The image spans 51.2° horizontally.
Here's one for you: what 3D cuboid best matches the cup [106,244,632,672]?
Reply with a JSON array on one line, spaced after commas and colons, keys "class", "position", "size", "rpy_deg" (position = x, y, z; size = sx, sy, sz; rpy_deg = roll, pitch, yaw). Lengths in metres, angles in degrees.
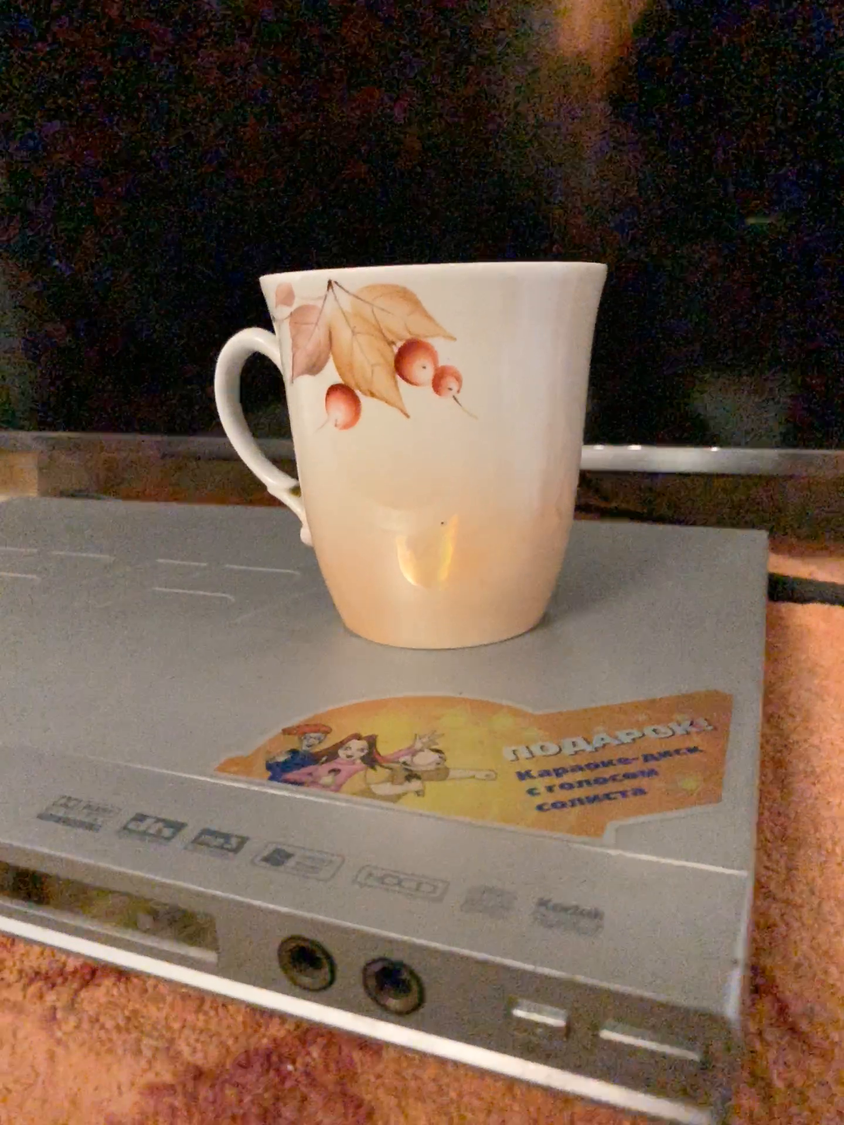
[{"class": "cup", "position": [-0.006, -0.036, 0.251], "size": [0.113, 0.091, 0.100], "rpy_deg": [4, 15, 20]}]
